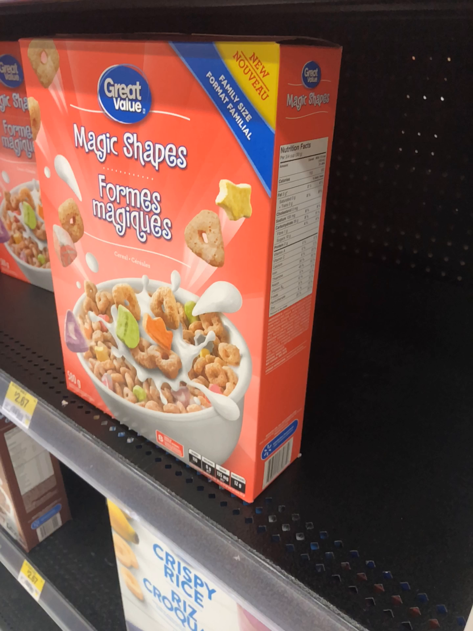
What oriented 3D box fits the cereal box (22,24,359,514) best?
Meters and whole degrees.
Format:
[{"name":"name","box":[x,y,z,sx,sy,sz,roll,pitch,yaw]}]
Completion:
[{"name":"cereal box","box":[-0.052,-0.047,0.442,0.250,0.339,0.080,21,31,35]}]
